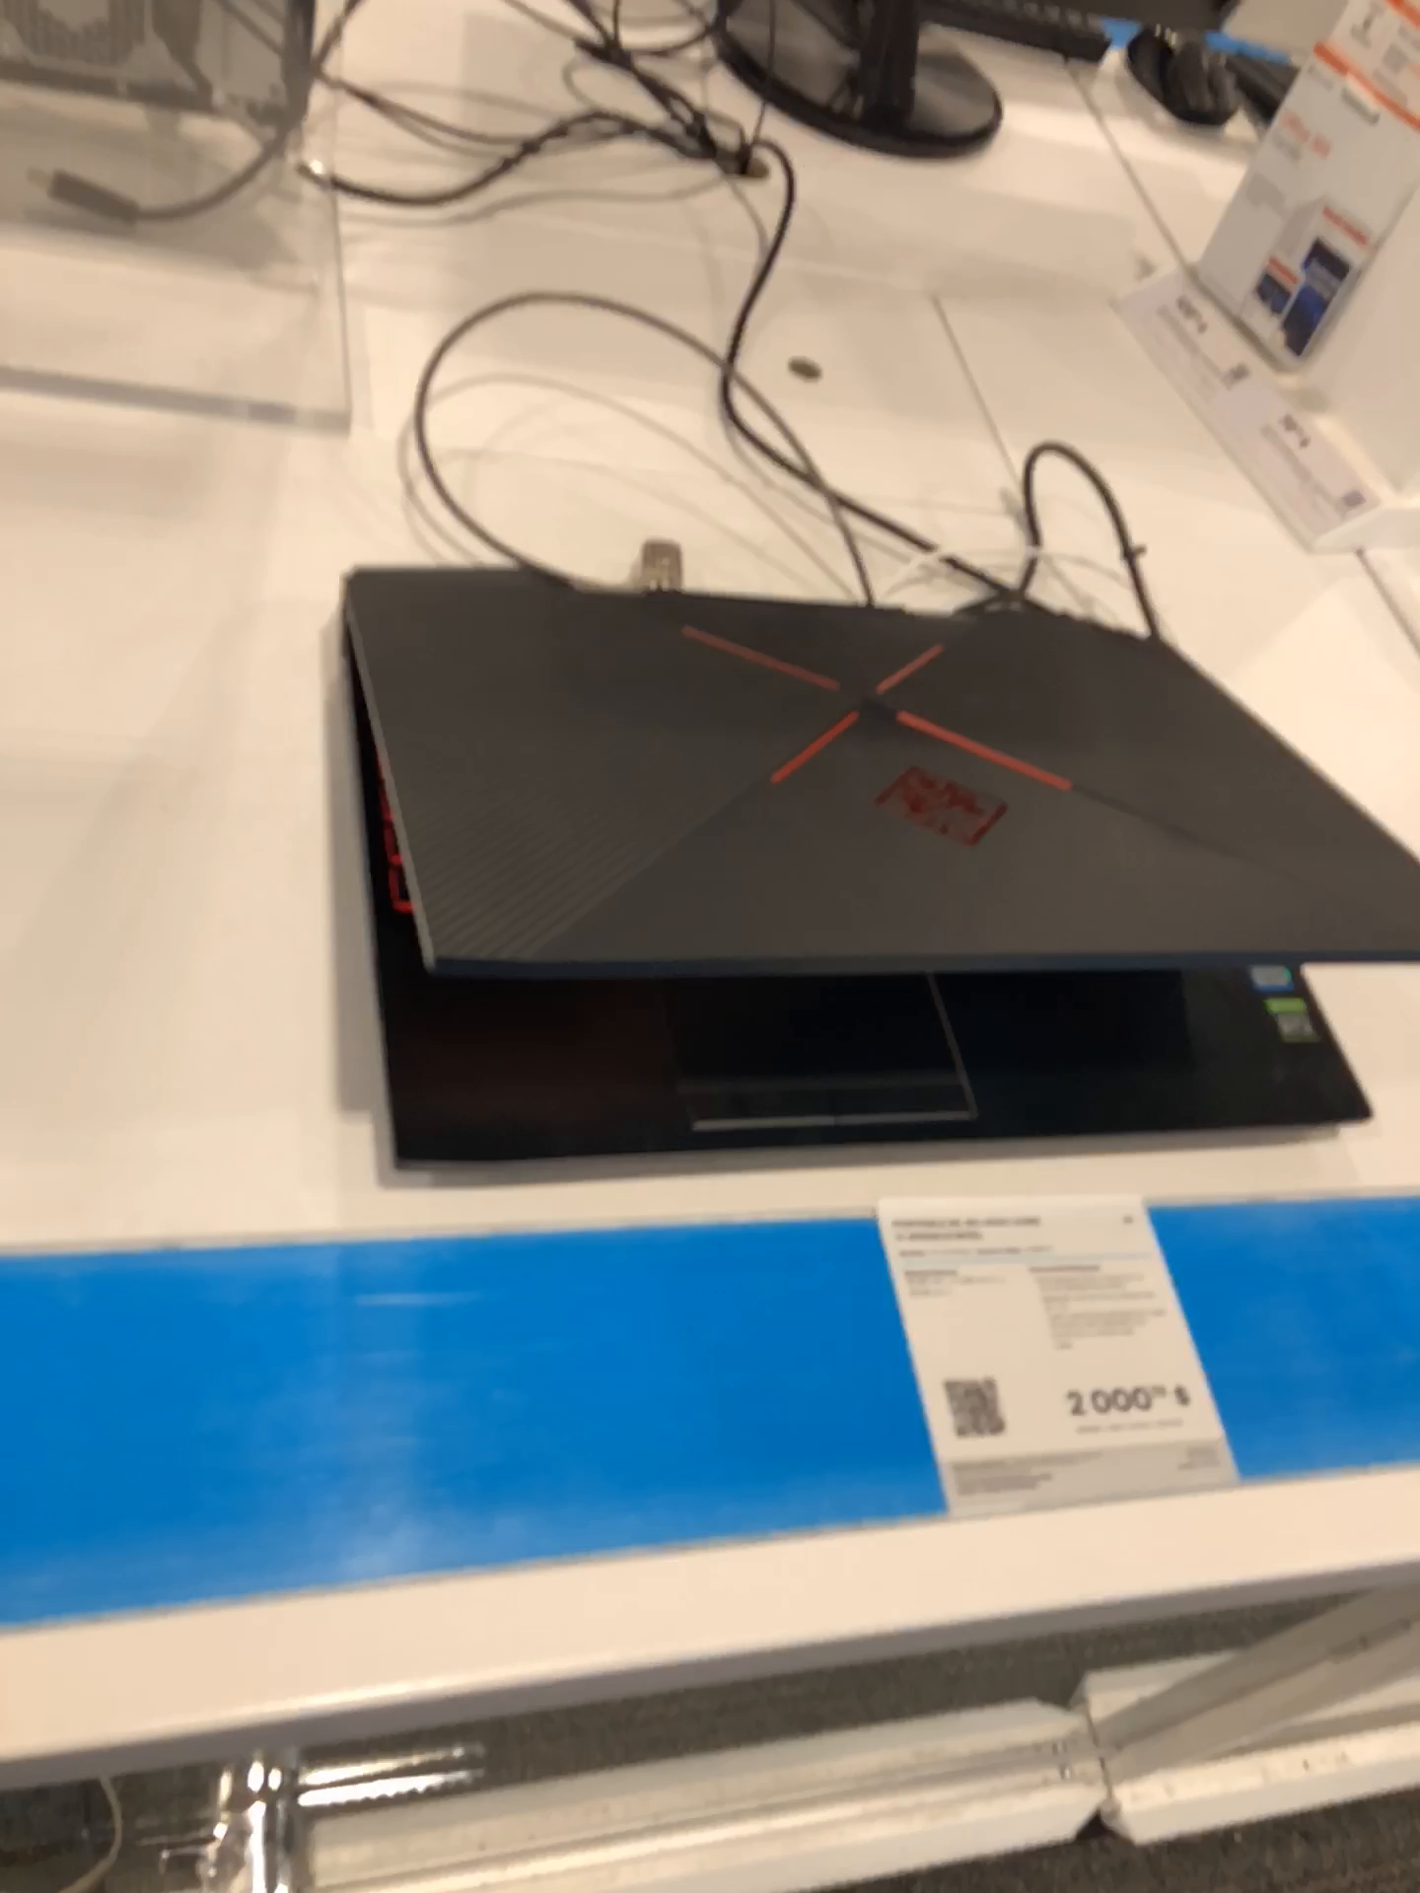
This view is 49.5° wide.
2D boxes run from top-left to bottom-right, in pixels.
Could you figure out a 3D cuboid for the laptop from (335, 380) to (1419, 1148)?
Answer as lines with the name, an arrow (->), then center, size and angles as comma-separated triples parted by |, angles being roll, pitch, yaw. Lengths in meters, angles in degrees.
laptop -> 0.062, -0.061, 0.523 | 0.346, 0.085, 0.235 | 1, 54, -19
